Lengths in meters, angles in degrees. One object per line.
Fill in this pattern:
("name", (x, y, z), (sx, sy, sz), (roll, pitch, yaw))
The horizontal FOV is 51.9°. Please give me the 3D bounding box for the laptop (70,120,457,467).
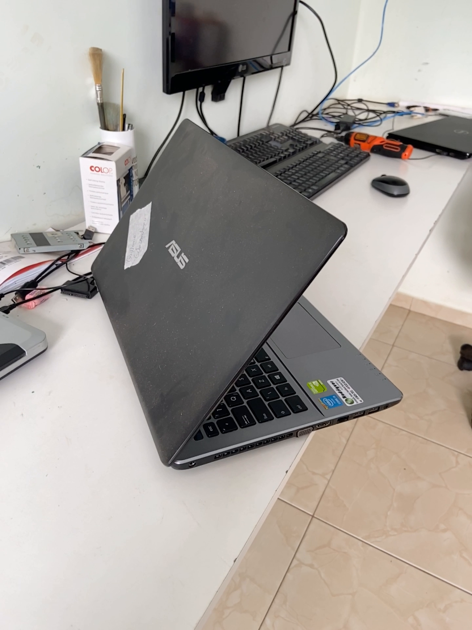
("laptop", (-0.014, -0.070, 0.532), (0.245, 0.190, 0.366), (-11, 36, -21))
